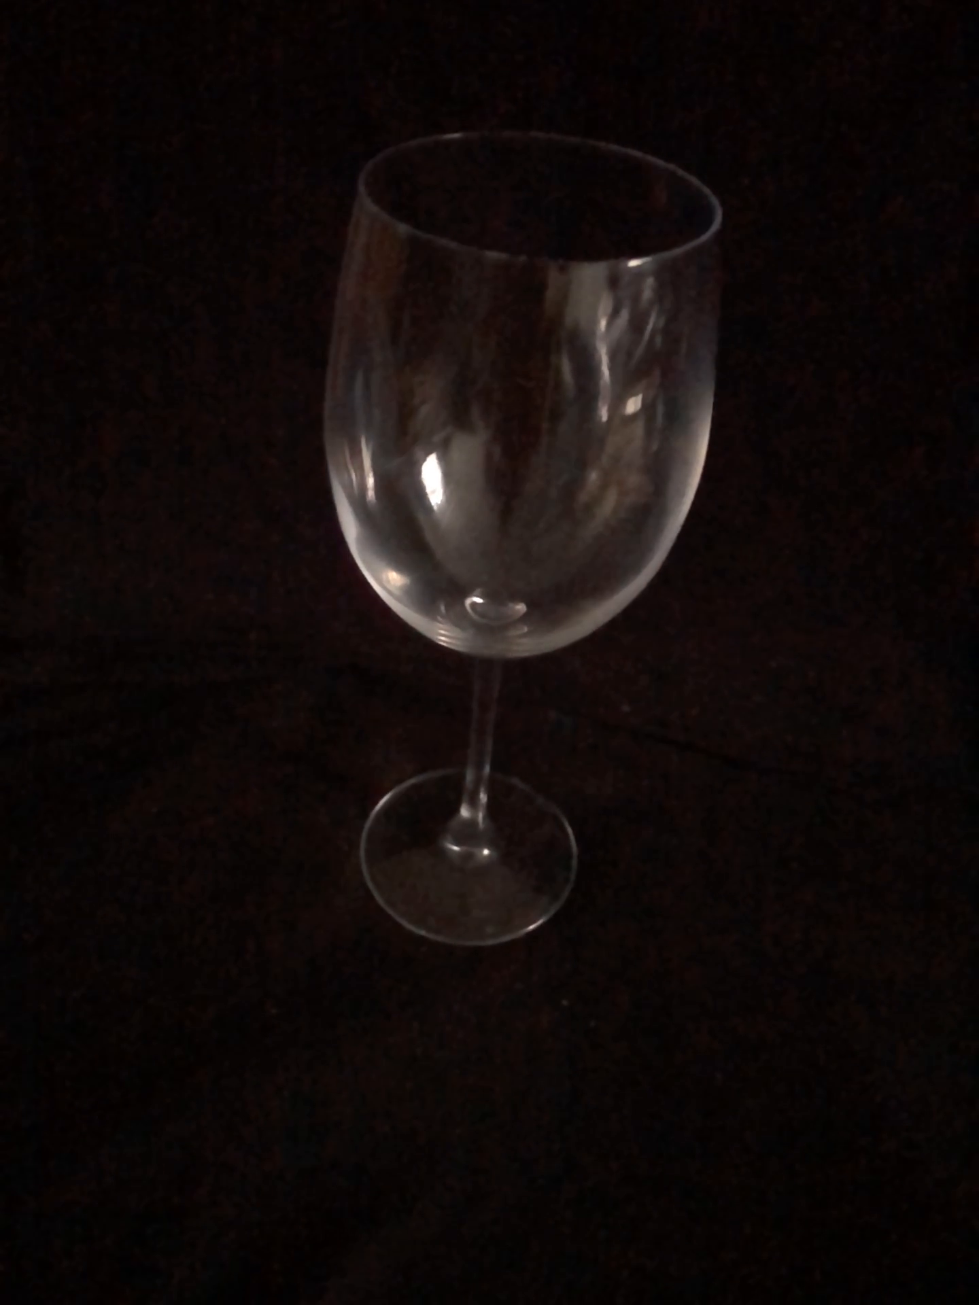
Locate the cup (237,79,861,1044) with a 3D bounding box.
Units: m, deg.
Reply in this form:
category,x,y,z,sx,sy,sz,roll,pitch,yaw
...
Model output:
category,x,y,z,sx,sy,sz,roll,pitch,yaw
cup,0.005,-0.009,0.330,0.100,0.266,0.103,1,44,-1
